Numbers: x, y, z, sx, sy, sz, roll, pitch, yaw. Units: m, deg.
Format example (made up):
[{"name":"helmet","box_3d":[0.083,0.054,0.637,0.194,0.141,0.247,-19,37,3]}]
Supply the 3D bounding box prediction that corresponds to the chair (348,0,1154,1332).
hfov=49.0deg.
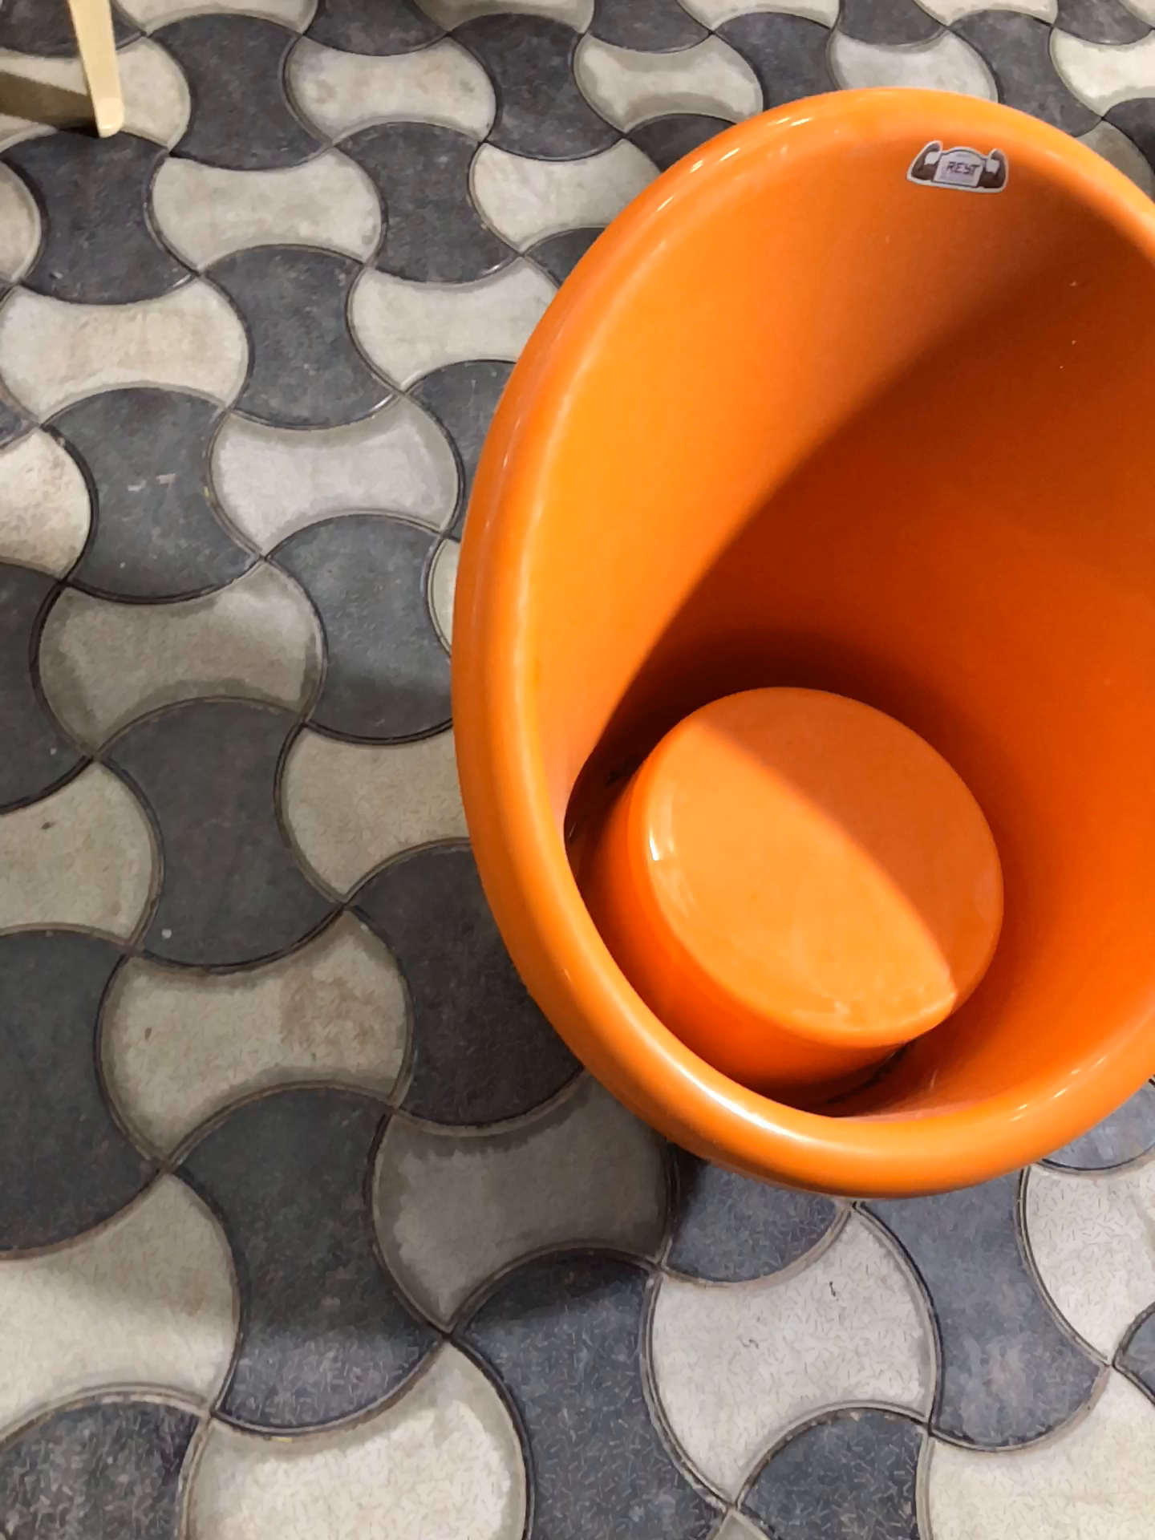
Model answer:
[{"name":"chair","box_3d":[0.191,-0.040,0.959,0.661,0.666,0.723,-3,63,-13]}]
